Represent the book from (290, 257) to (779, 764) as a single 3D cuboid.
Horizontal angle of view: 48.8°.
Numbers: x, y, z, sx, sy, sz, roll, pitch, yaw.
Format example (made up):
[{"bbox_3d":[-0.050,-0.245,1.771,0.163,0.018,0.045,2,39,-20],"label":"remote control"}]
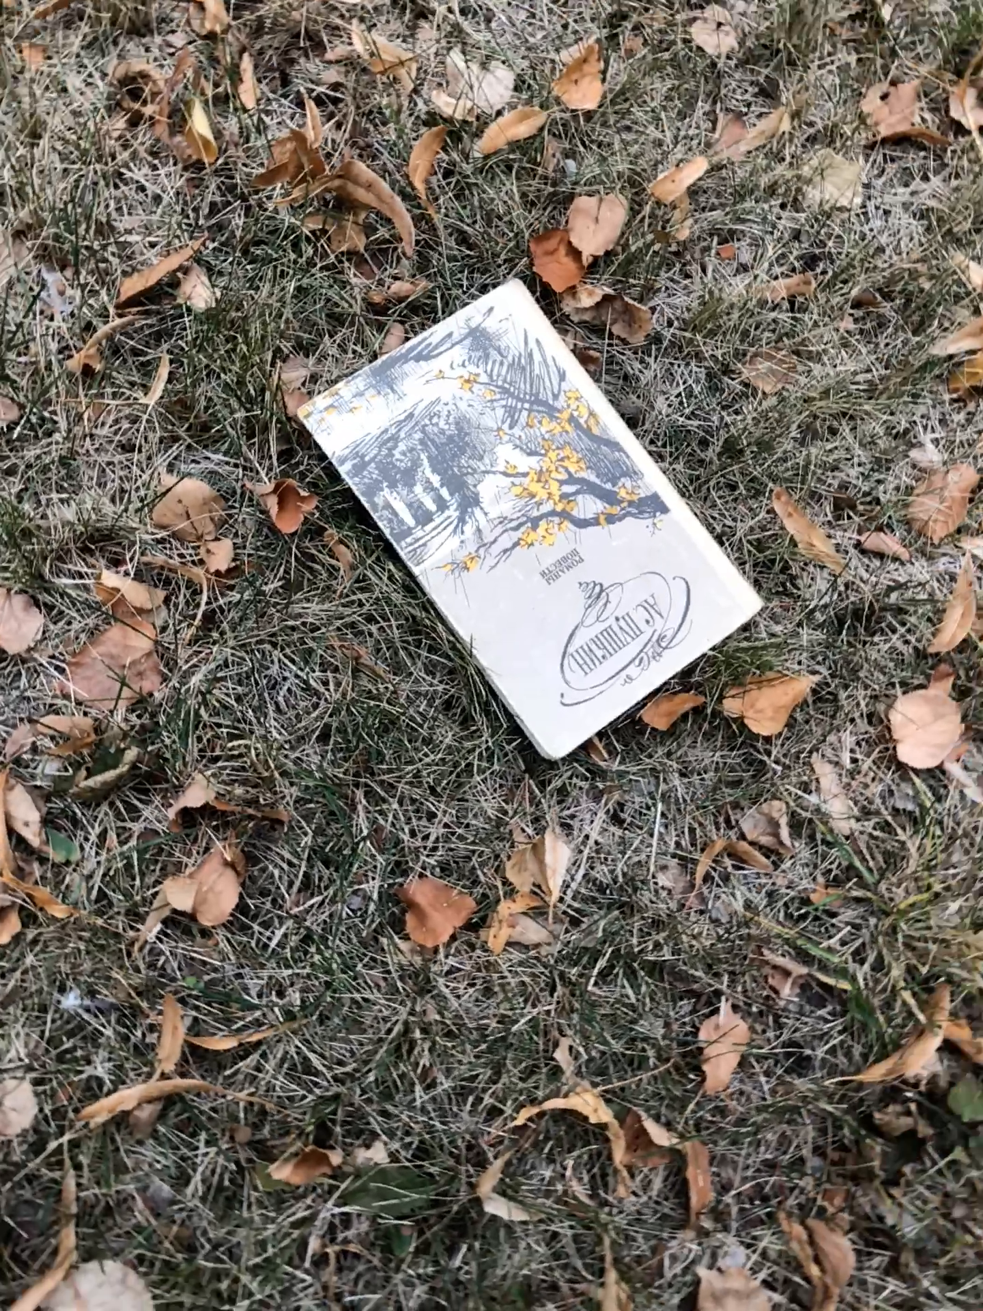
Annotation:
[{"bbox_3d":[0.020,-0.073,0.523,0.135,0.021,0.210,-35,85,-13],"label":"book"}]
